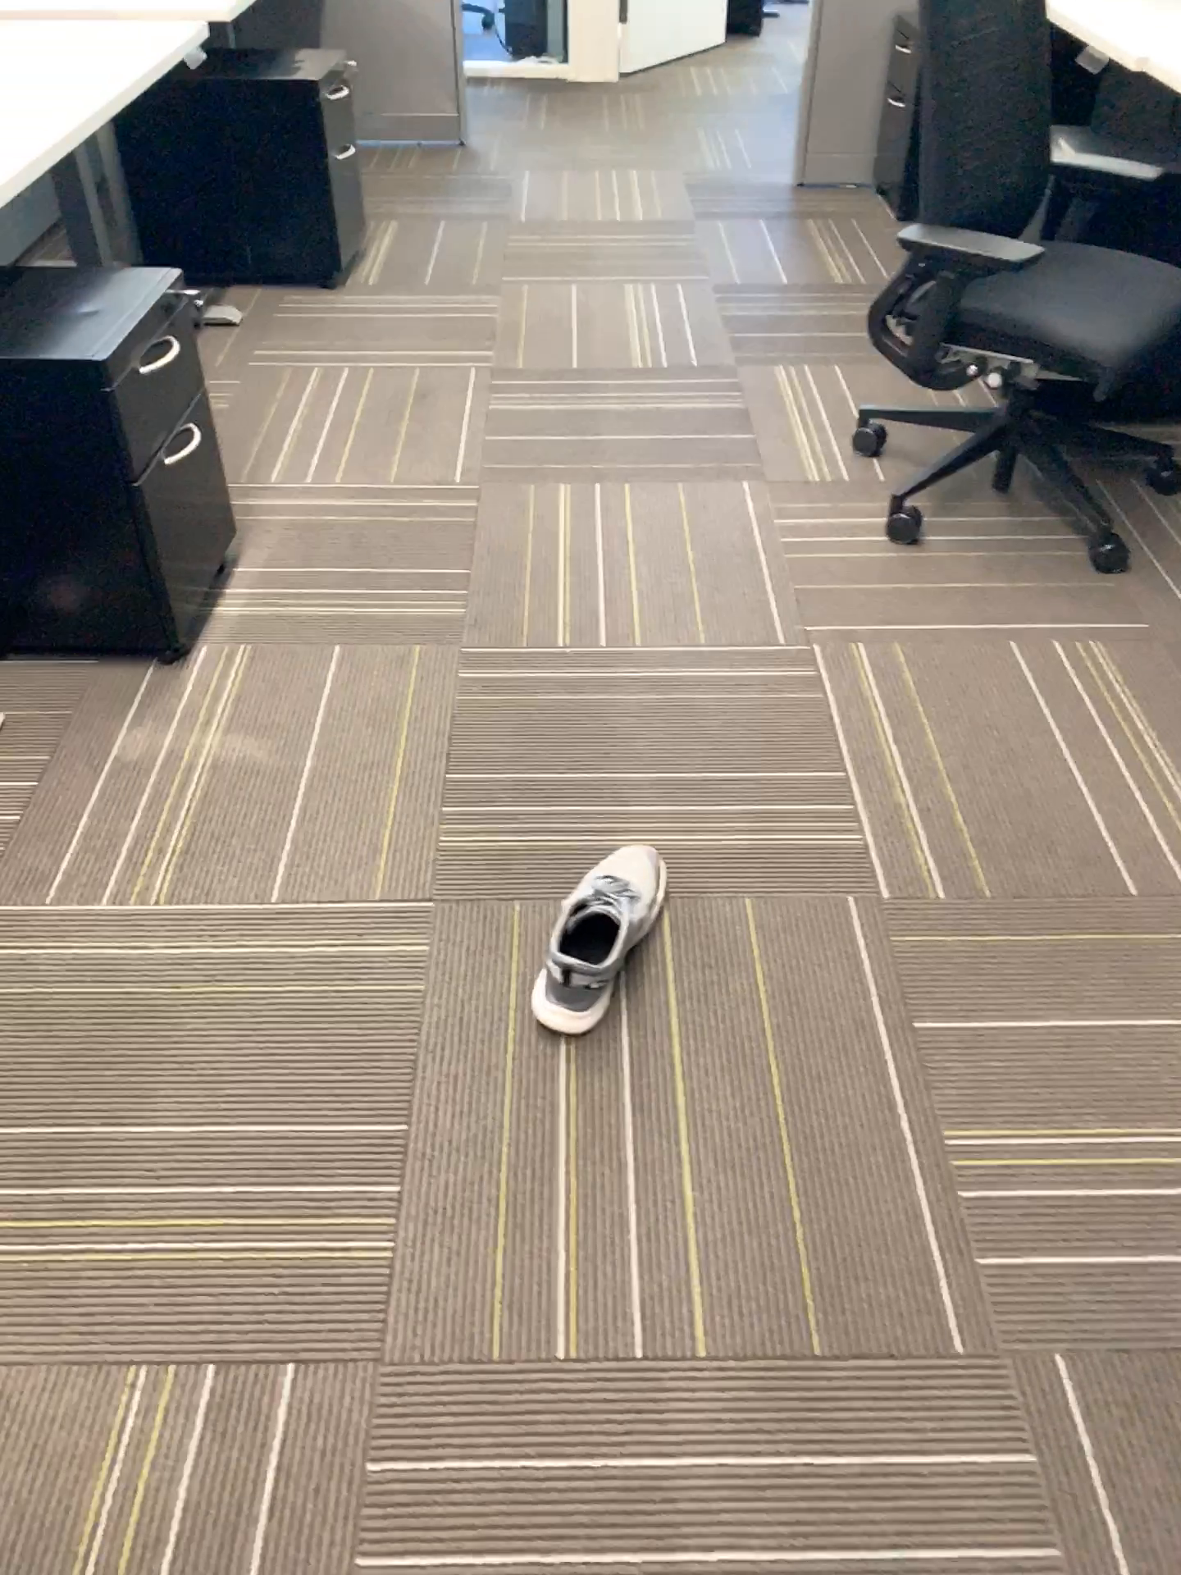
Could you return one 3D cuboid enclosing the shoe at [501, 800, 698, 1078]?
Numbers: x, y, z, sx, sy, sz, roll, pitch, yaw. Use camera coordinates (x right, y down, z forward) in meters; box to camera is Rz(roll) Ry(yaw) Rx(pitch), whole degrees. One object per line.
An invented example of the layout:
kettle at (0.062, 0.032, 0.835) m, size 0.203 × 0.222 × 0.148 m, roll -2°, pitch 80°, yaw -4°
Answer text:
shoe at (0.019, 0.178, 1.507) m, size 0.160 × 0.109 × 0.331 m, roll 11°, pitch 42°, yaw 11°
